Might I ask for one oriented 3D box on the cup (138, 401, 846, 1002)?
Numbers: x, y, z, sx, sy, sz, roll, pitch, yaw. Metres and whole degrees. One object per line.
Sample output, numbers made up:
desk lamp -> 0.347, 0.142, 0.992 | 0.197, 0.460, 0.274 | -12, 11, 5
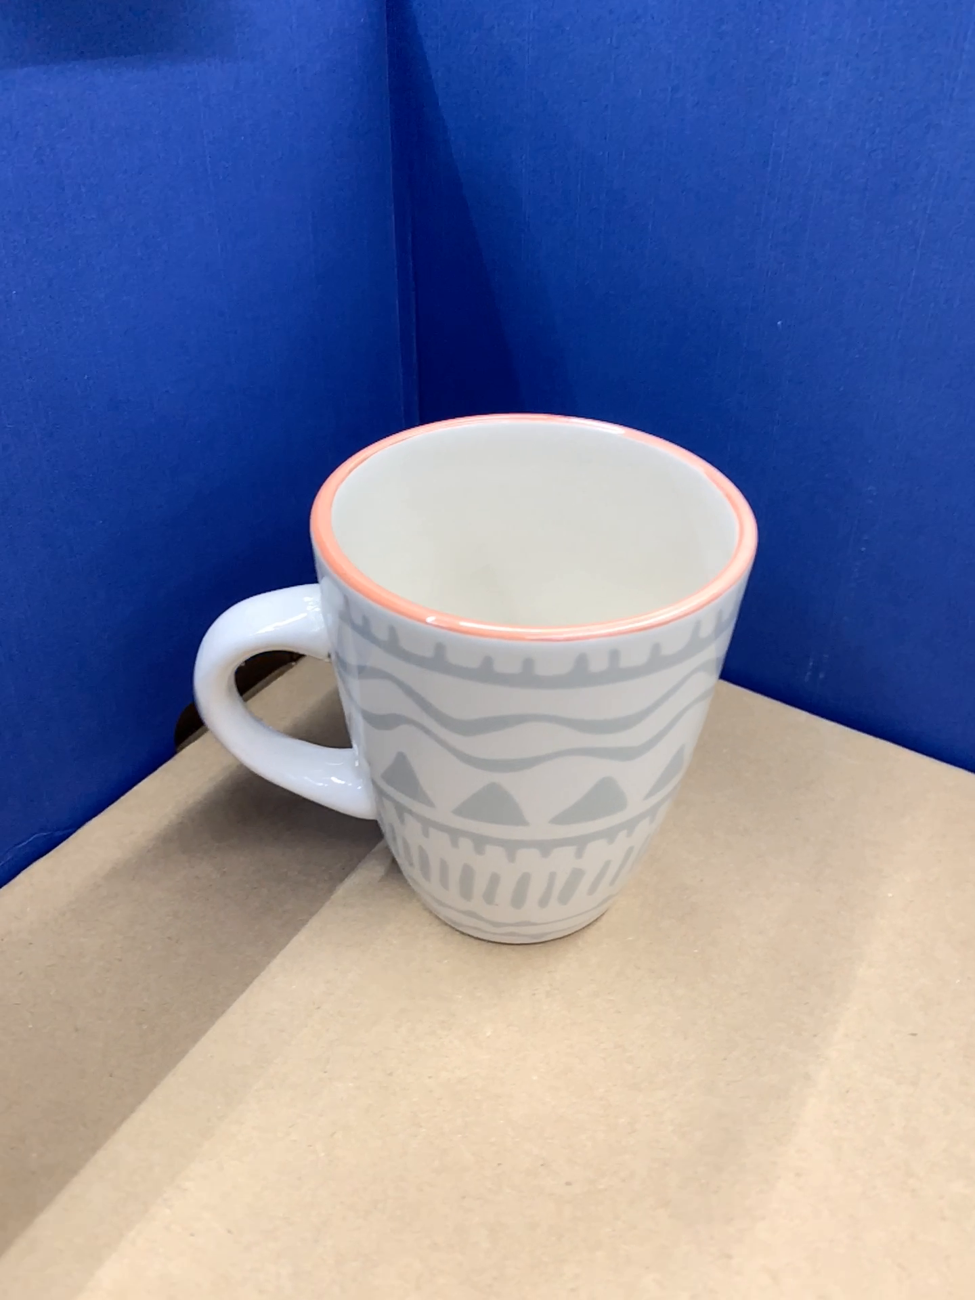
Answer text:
cup -> -0.005, 0.004, 0.229 | 0.118, 0.082, 0.097 | -5, 36, -9
